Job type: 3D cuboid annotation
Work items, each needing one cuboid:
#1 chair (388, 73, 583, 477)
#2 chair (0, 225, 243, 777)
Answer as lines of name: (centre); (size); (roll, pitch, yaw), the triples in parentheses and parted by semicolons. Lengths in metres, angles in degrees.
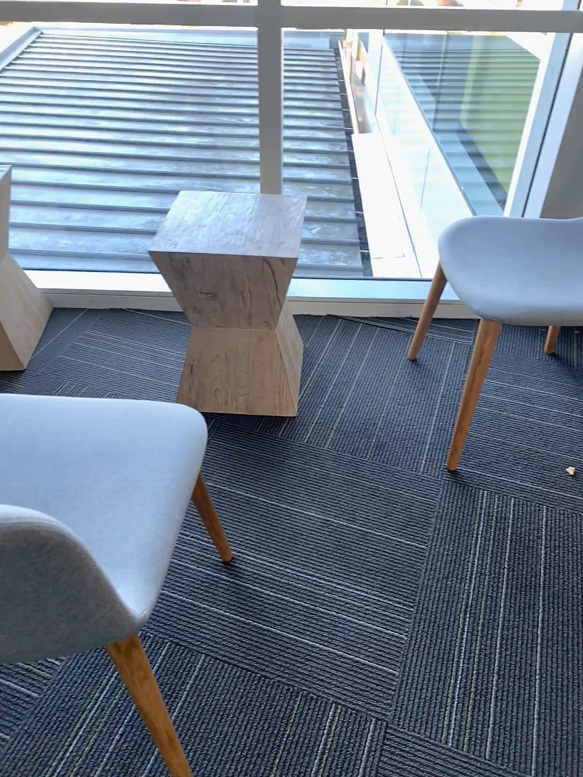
chair: (0.627, -0.285, 1.435); (0.600, 0.726, 0.654); (-1, 39, -2)
chair: (-0.377, 0.198, 0.842); (0.540, 0.676, 0.473); (2, 39, 2)
